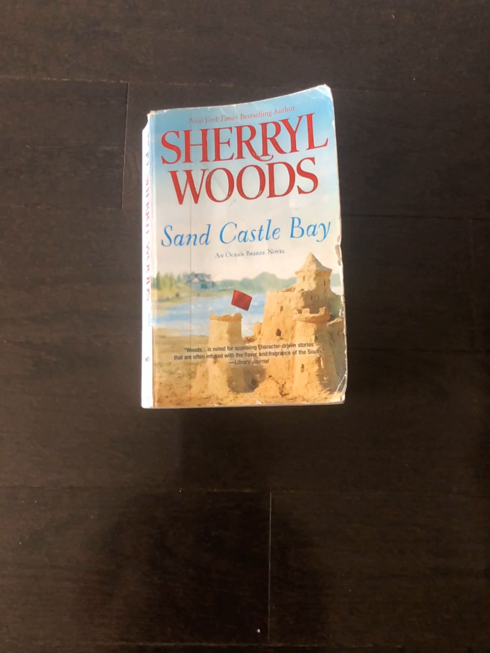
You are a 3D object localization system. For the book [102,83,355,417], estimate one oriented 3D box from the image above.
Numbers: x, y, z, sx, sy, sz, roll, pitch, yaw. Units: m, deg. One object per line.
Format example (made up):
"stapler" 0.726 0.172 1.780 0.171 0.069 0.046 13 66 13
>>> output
"book" -0.009 -0.038 0.286 0.119 0.037 0.161 -2 86 2
